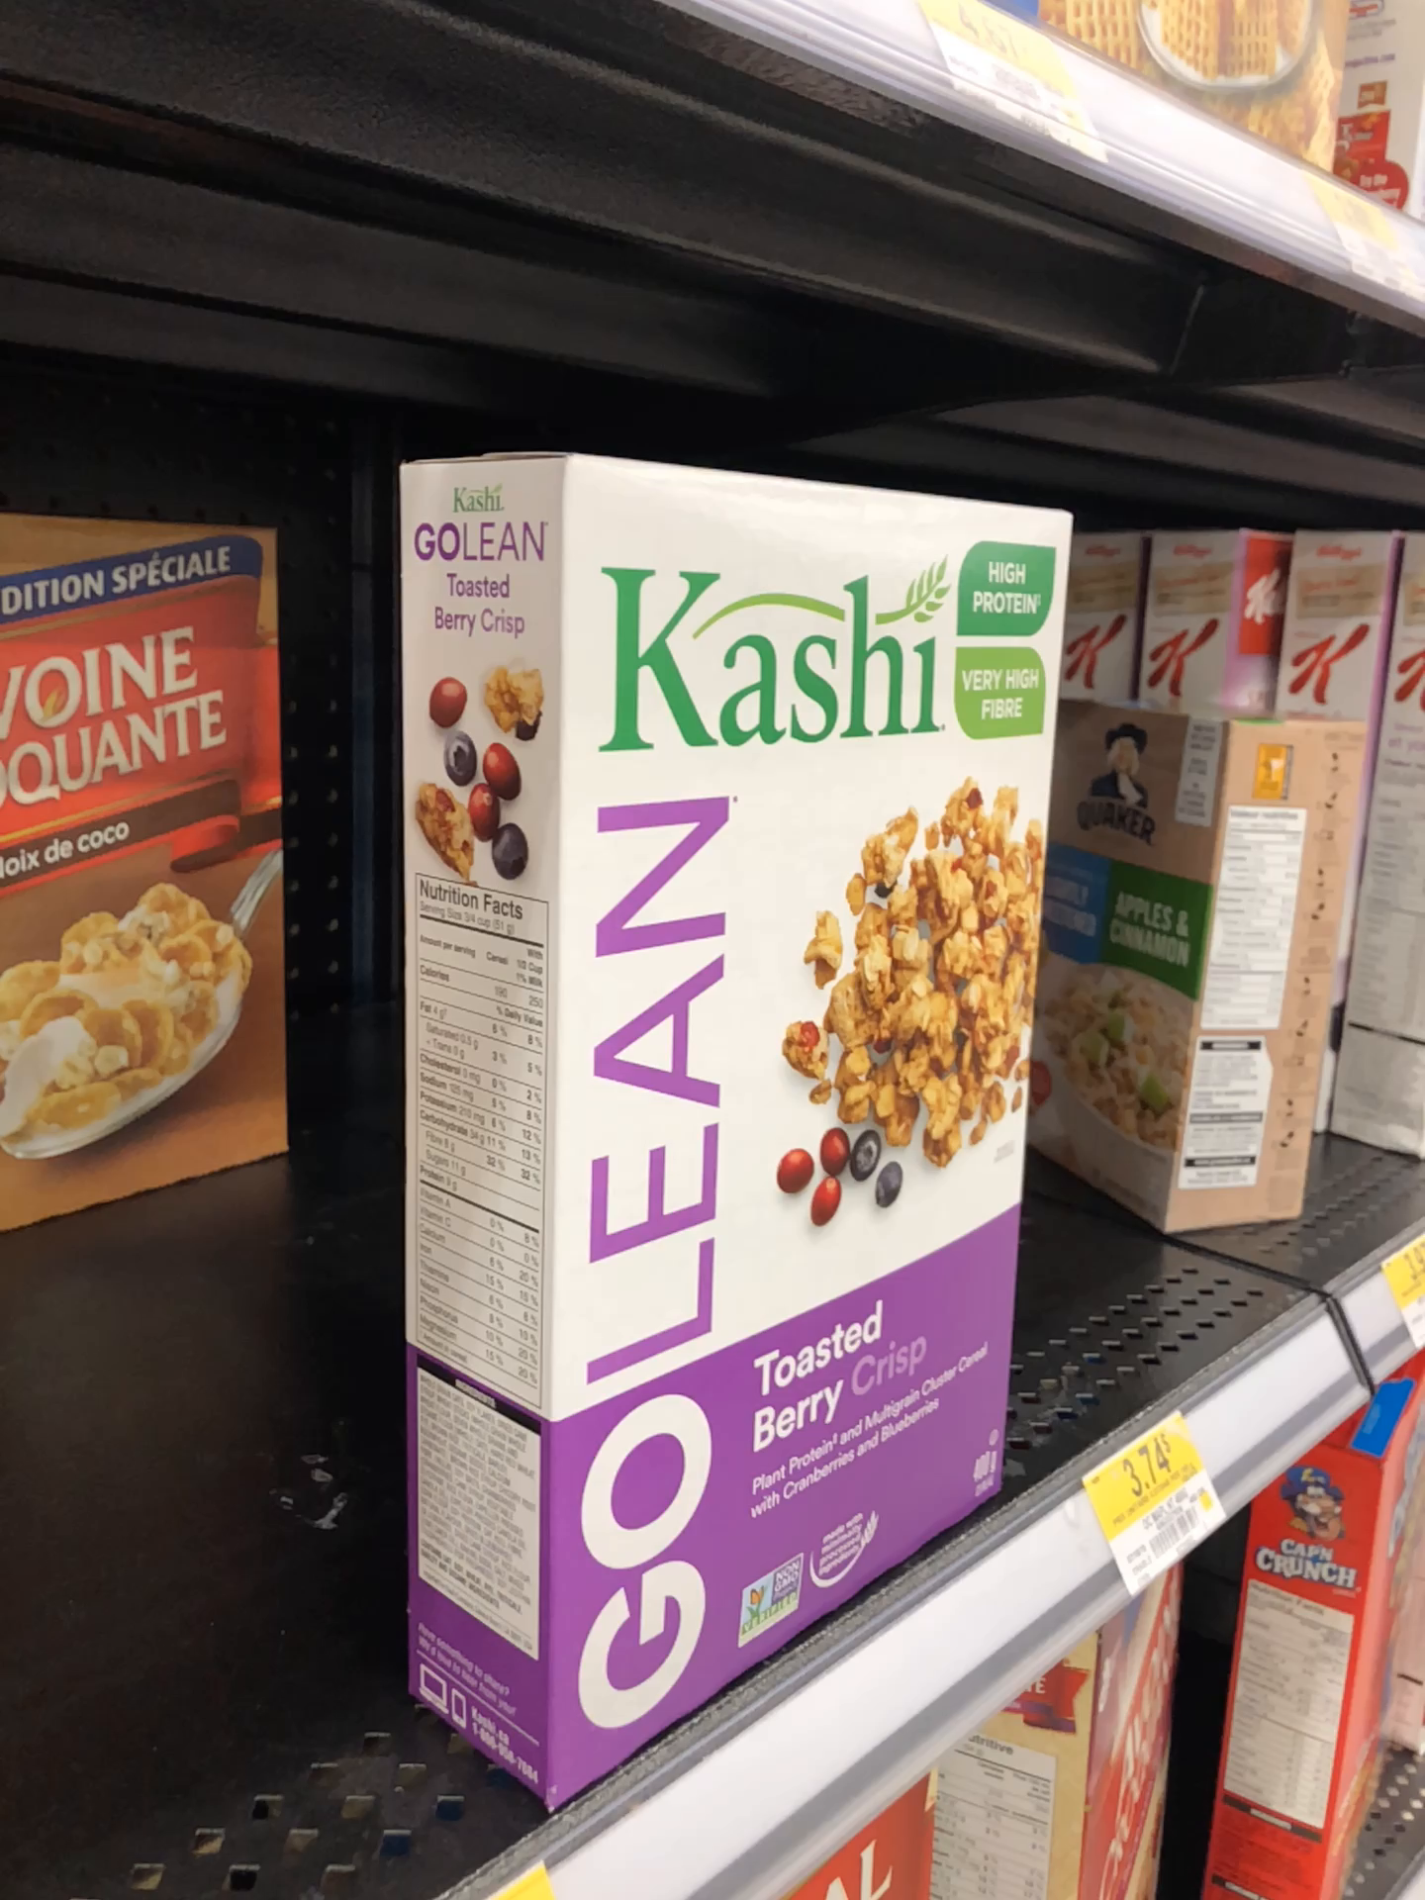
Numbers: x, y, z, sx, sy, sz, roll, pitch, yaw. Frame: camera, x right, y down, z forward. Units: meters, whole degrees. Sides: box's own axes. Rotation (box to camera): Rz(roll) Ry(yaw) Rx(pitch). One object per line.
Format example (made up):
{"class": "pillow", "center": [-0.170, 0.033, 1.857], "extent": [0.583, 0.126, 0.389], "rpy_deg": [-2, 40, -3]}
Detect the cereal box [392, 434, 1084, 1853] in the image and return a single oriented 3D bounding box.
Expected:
{"class": "cereal box", "center": [0.010, 0.031, 0.365], "extent": [0.050, 0.269, 0.170], "rpy_deg": [12, 15, 40]}
